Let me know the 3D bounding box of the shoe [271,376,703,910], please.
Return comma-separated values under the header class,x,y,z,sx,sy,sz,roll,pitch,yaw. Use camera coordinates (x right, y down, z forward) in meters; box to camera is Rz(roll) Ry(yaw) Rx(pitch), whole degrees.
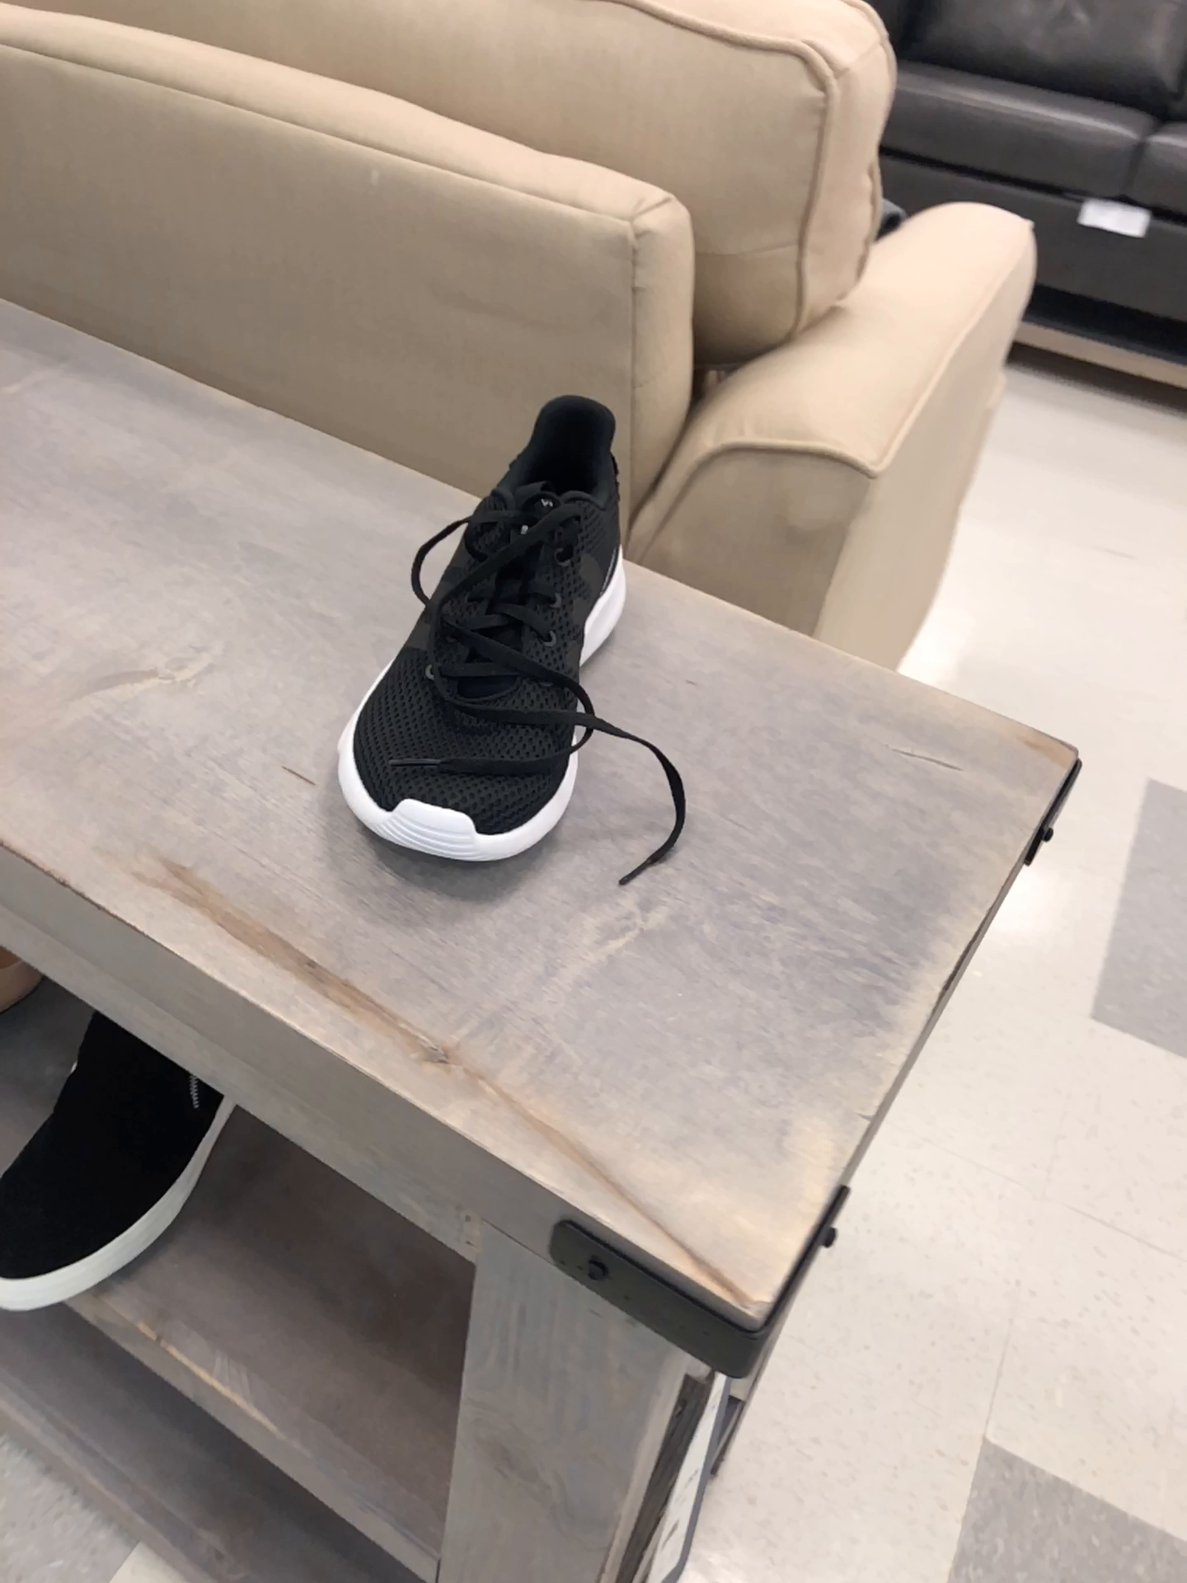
class,x,y,z,sx,sy,sz,roll,pitch,yaw
shoe,-0.039,-0.090,0.637,0.120,0.109,0.285,14,38,6
